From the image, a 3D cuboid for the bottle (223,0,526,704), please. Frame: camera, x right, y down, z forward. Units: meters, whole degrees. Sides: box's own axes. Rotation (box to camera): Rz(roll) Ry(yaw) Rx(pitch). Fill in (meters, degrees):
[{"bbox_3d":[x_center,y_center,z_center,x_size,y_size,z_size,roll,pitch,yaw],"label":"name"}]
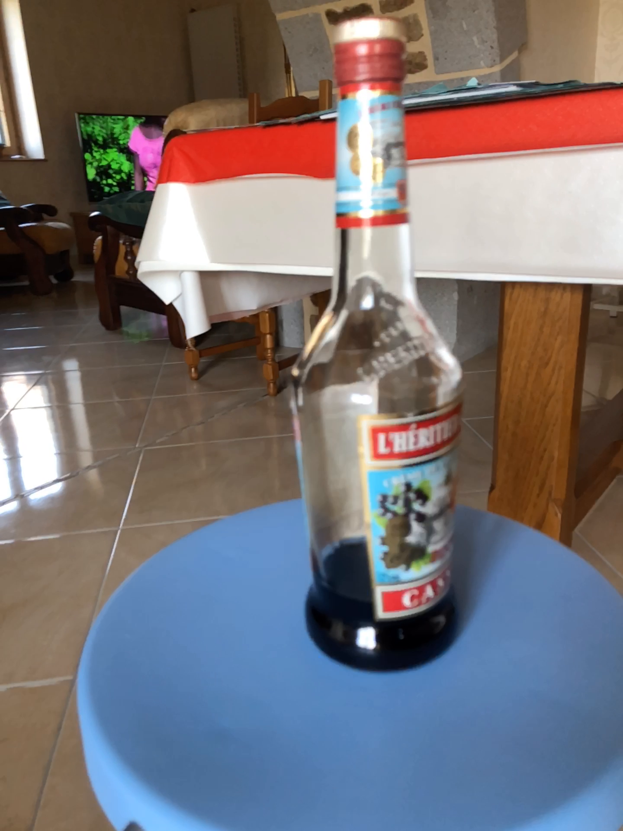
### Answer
[{"bbox_3d":[0.033,-0.027,0.330,0.090,0.299,0.090,-3,19,1],"label":"bottle"}]
